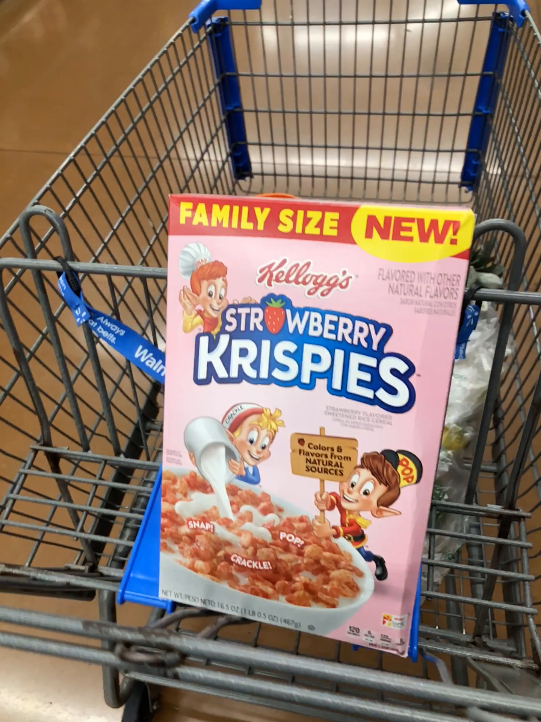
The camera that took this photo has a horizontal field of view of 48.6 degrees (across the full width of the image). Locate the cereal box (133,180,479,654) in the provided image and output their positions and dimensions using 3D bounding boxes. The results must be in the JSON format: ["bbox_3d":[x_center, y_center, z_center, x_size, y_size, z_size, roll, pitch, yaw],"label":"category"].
[{"bbox_3d":[0.017,0.033,0.424,0.200,0.290,0.080,7,12,11],"label":"cereal box"}]
